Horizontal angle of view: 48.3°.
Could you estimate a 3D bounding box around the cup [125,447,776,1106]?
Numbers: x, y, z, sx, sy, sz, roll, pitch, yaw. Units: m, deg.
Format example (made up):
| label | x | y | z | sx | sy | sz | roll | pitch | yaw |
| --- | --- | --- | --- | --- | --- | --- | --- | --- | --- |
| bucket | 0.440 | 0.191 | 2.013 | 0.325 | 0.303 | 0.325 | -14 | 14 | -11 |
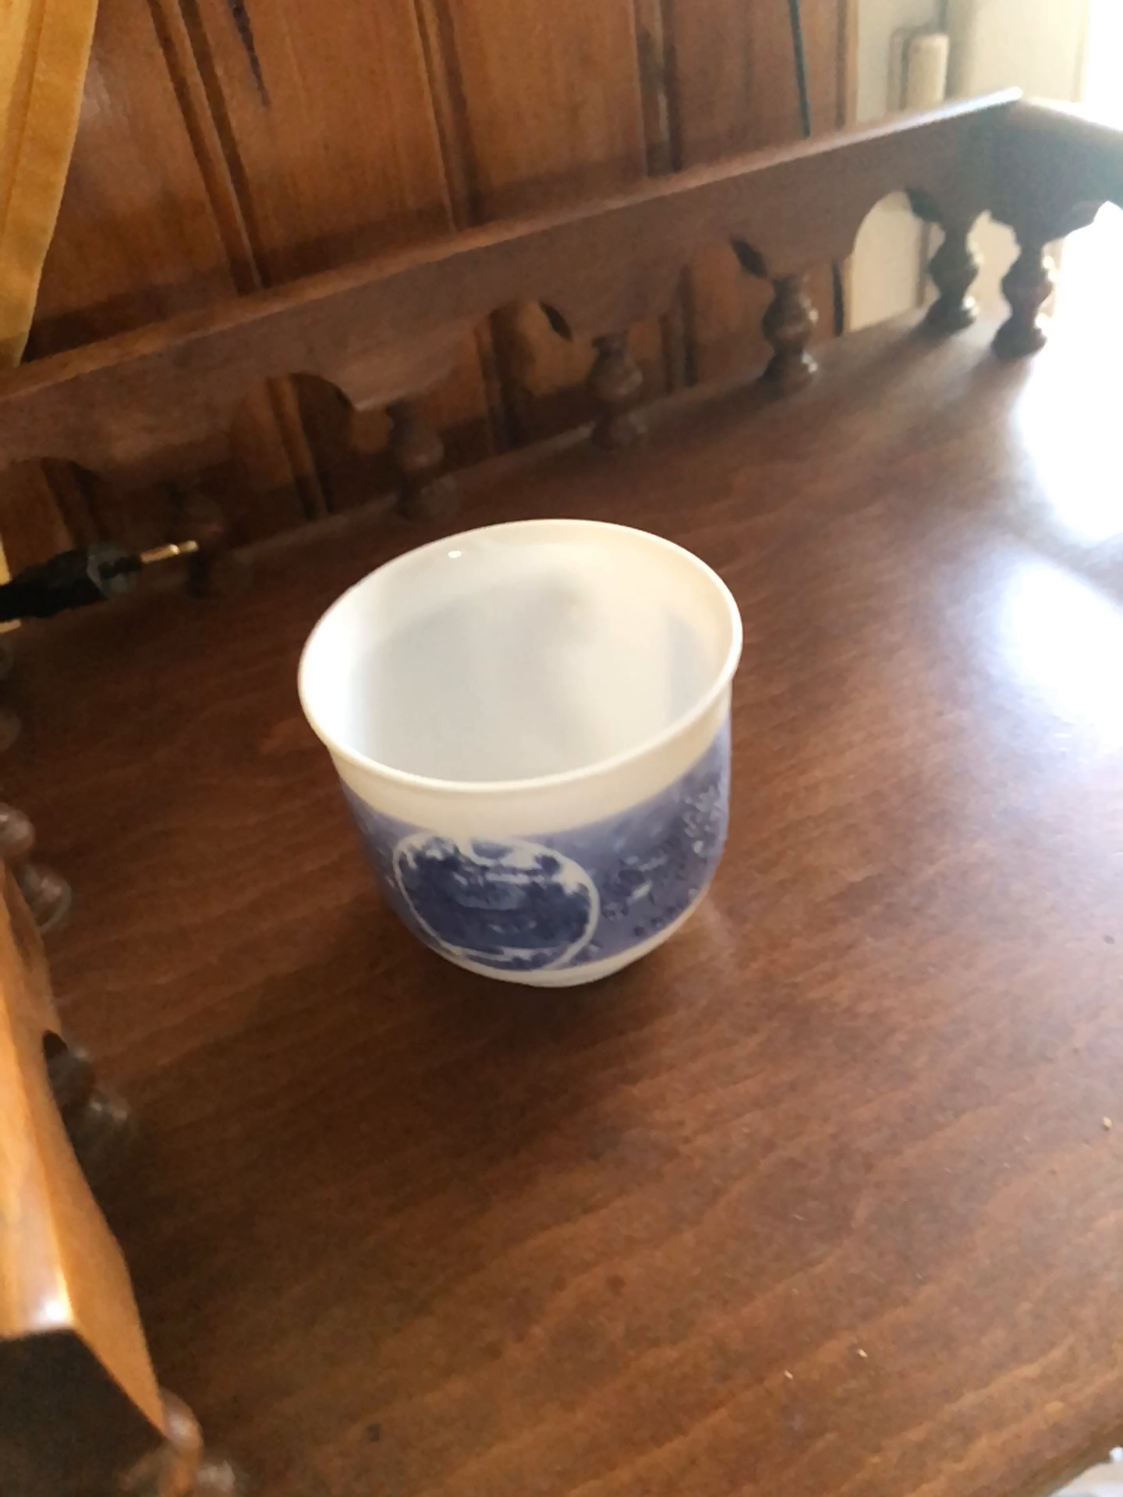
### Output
| label | x | y | z | sx | sy | sz | roll | pitch | yaw |
| --- | --- | --- | --- | --- | --- | --- | --- | --- | --- |
| cup | -0.008 | -0.002 | 0.223 | 0.080 | 0.060 | 0.101 | 4 | 42 | 15 |
